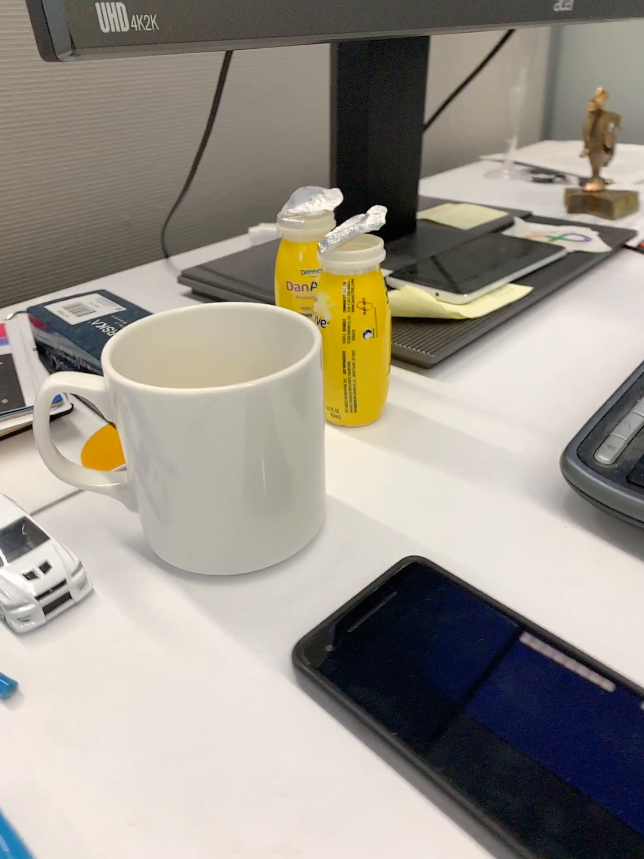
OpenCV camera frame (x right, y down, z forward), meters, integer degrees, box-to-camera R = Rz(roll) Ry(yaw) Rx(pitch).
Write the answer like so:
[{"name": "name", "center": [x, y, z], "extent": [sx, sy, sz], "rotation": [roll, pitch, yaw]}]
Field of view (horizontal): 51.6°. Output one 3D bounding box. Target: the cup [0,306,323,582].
[{"name": "cup", "center": [-0.061, 0.004, 0.260], "extent": [0.120, 0.080, 0.070], "rotation": [-1, 31, 1]}]
